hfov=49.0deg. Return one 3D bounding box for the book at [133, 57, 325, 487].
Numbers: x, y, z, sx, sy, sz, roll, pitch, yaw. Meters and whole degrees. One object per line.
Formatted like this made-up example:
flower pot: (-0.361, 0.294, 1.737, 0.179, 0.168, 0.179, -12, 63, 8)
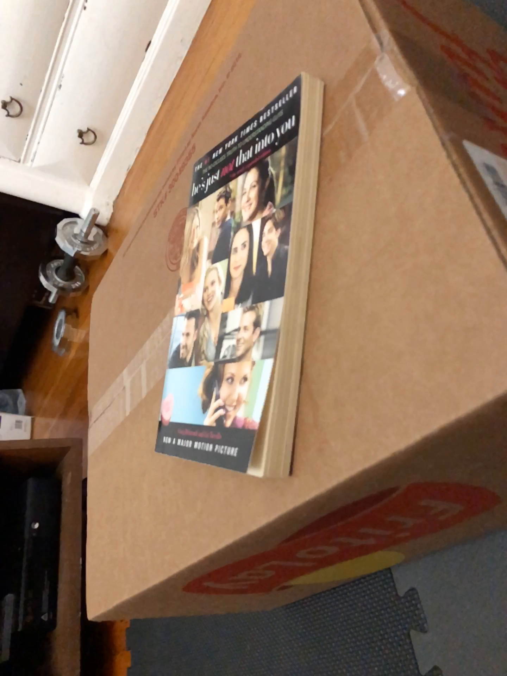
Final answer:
book: (-0.022, -0.028, 0.333, 0.161, 0.020, 0.210, -13, 69, 57)
